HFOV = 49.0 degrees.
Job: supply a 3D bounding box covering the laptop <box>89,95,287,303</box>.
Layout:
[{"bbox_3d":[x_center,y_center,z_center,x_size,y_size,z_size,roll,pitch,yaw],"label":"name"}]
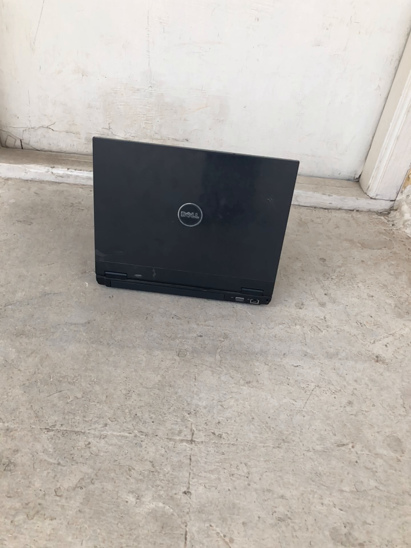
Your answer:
[{"bbox_3d":[-0.023,-0.133,0.796,0.279,0.251,0.225,7,41,2],"label":"laptop"}]
